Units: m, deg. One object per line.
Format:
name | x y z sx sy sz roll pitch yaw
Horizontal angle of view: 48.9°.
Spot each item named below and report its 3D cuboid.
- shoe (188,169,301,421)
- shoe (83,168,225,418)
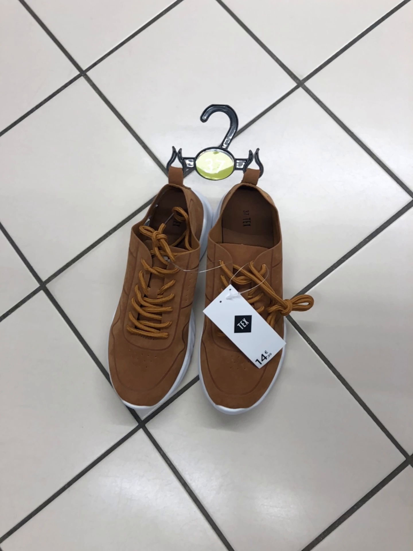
shoe | 0.041 0.020 0.467 0.090 0.100 0.230 3 78 6
shoe | -0.043 0.019 0.461 0.090 0.100 0.220 7 79 7
